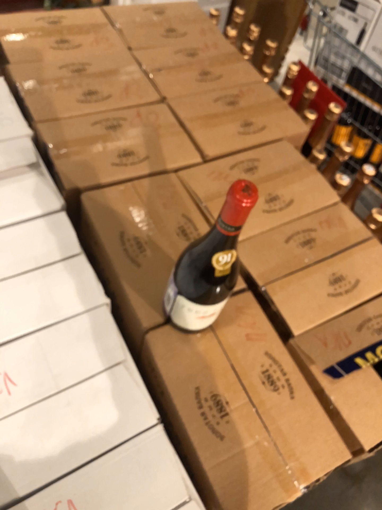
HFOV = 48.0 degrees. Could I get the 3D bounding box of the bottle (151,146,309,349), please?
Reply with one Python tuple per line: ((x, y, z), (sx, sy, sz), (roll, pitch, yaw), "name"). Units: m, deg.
((0.029, 0.006, 0.541), (0.100, 0.268, 0.100), (6, 54, -9), "bottle")
